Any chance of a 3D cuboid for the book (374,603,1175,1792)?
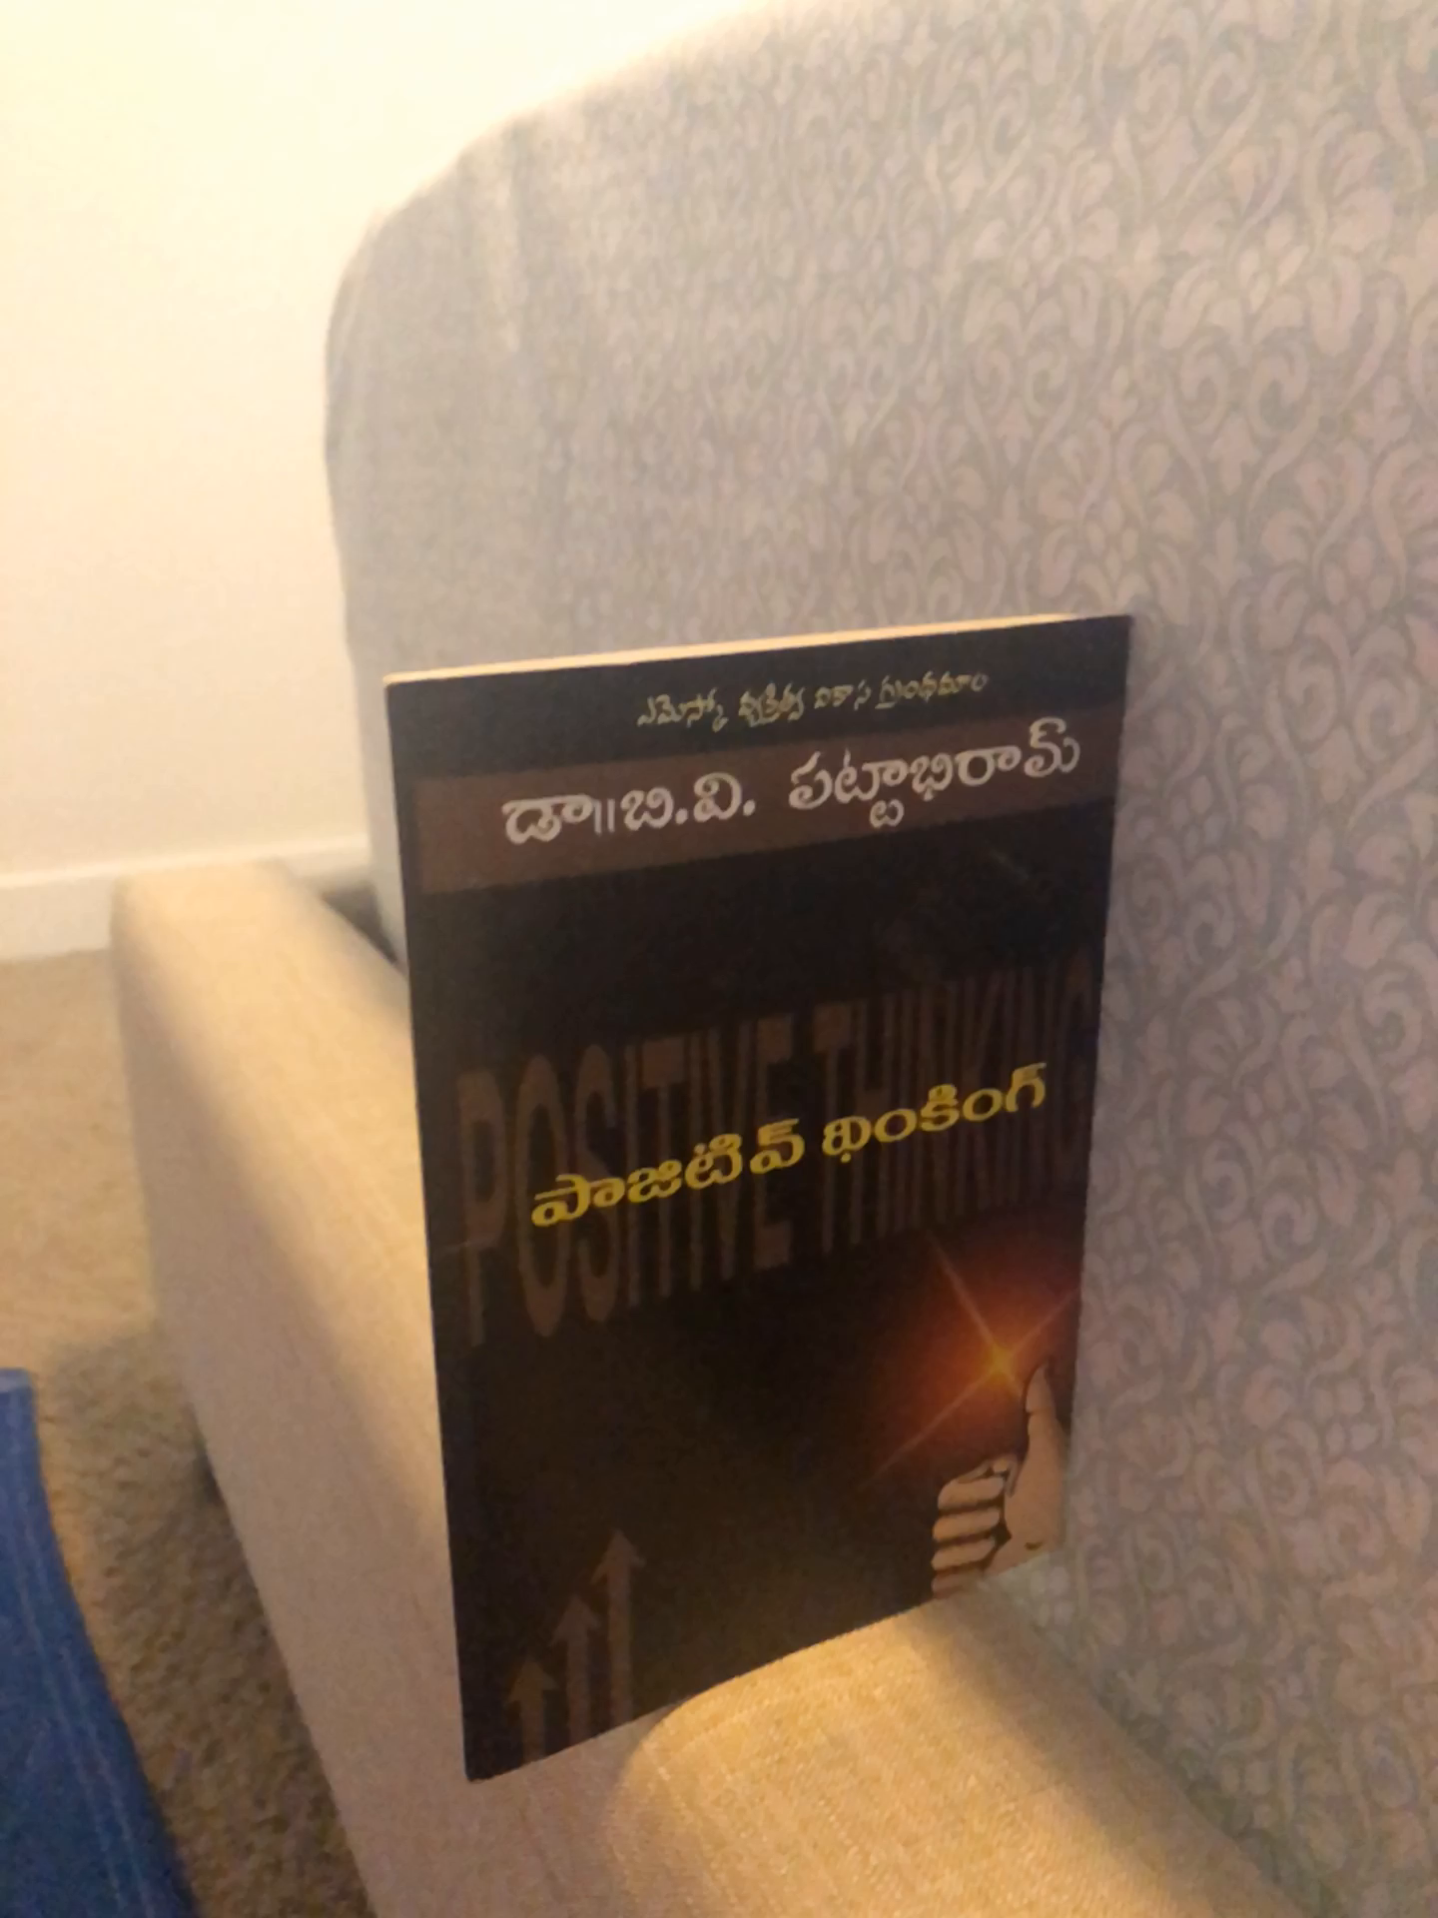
[{"bbox_3d":[0.013,0.035,0.257,0.127,0.175,0.011,-9,20,-28],"label":"book"}]
